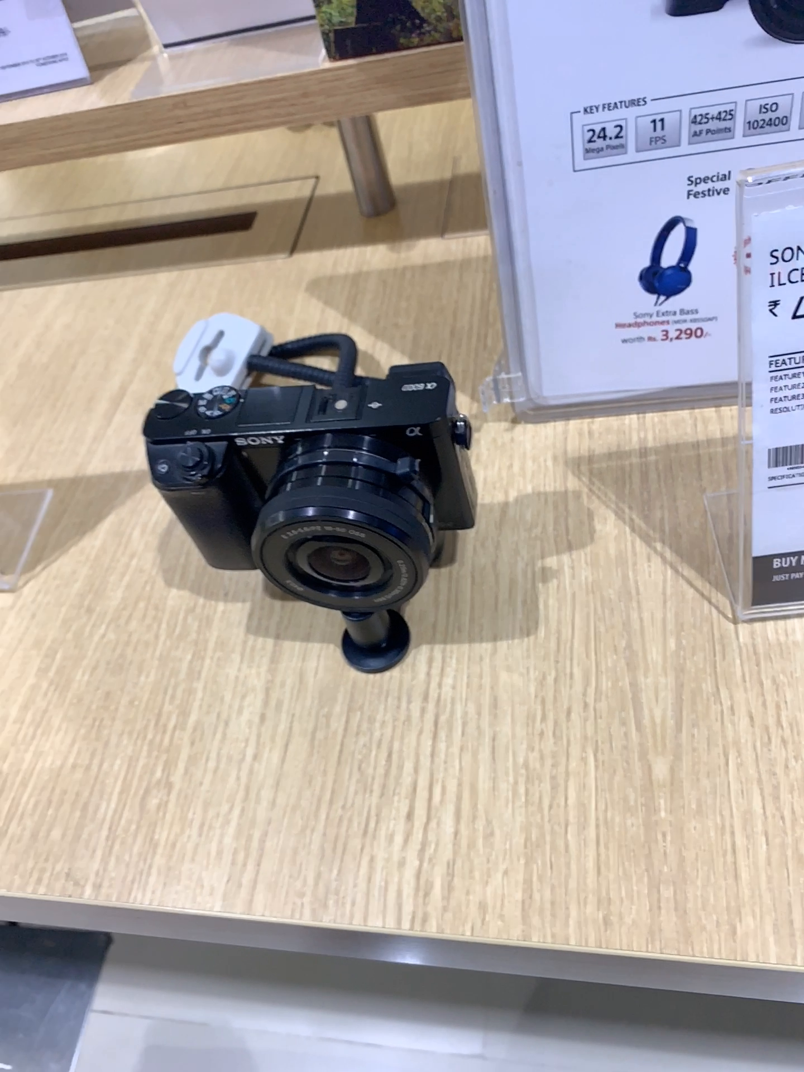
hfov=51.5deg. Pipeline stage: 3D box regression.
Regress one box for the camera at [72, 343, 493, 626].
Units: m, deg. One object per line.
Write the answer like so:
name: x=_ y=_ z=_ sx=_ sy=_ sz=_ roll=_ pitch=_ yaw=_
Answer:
camera: x=-0.037 y=-0.016 z=0.313 sx=0.130 sy=0.070 sz=0.070 roll=-2 pitch=52 yaw=14
